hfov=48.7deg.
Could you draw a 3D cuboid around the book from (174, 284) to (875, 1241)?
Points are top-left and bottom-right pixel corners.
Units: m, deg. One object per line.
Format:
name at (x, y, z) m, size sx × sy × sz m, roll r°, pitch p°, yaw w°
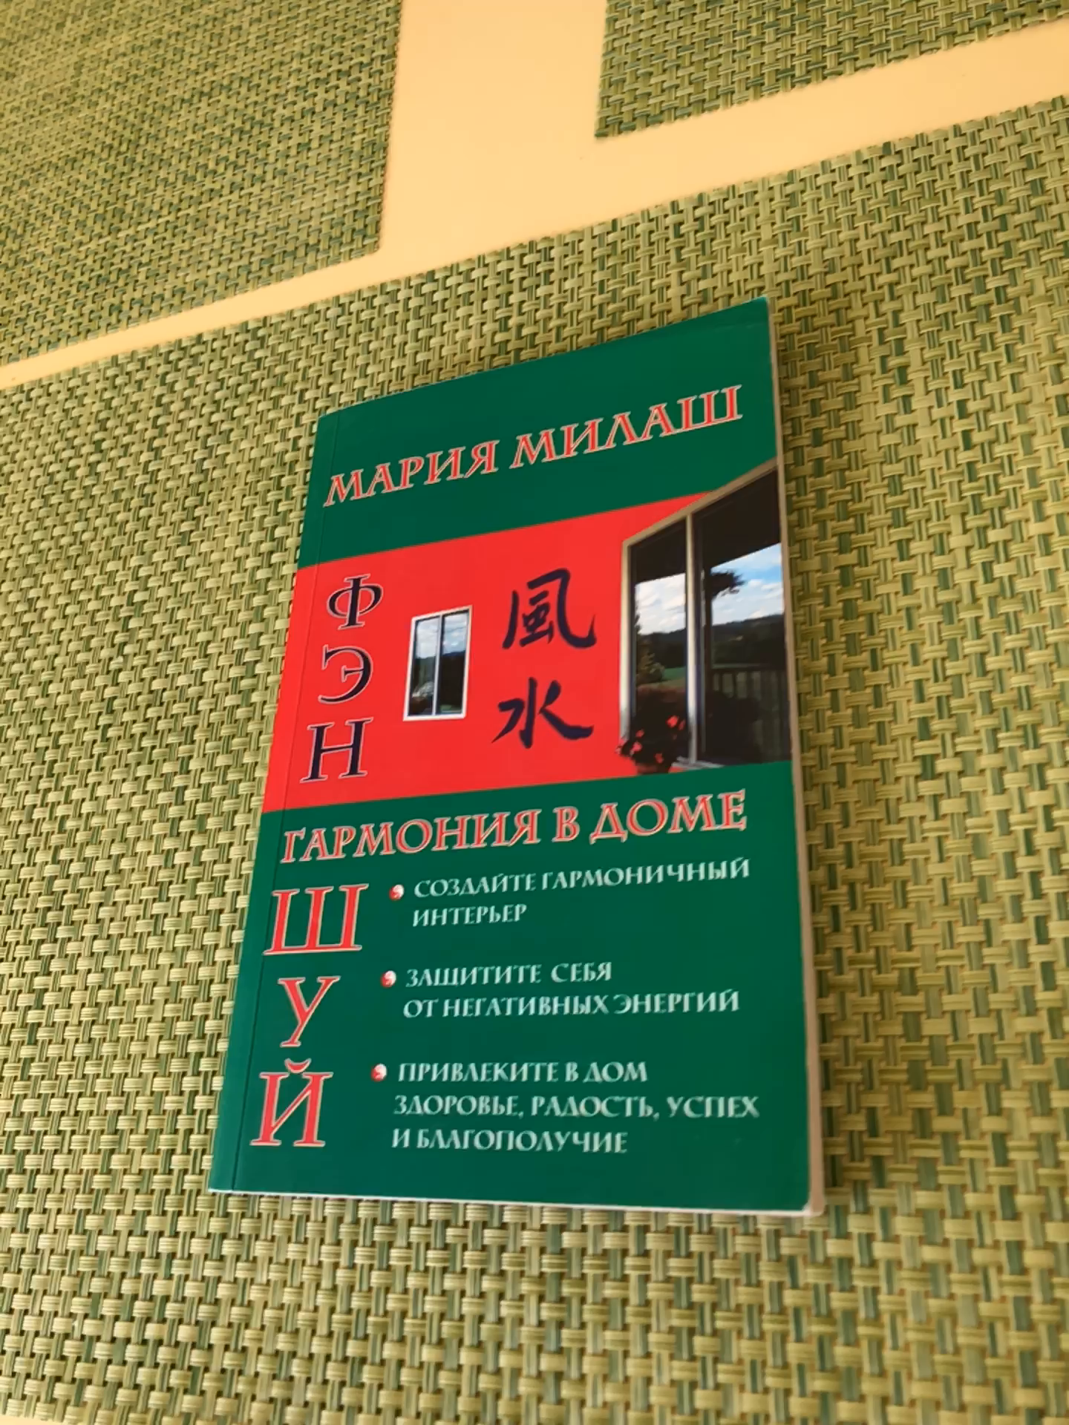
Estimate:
book at (-0.003, 0.005, 0.265) m, size 0.137 × 0.020 × 0.201 m, roll -8°, pitch 64°, yaw 23°
